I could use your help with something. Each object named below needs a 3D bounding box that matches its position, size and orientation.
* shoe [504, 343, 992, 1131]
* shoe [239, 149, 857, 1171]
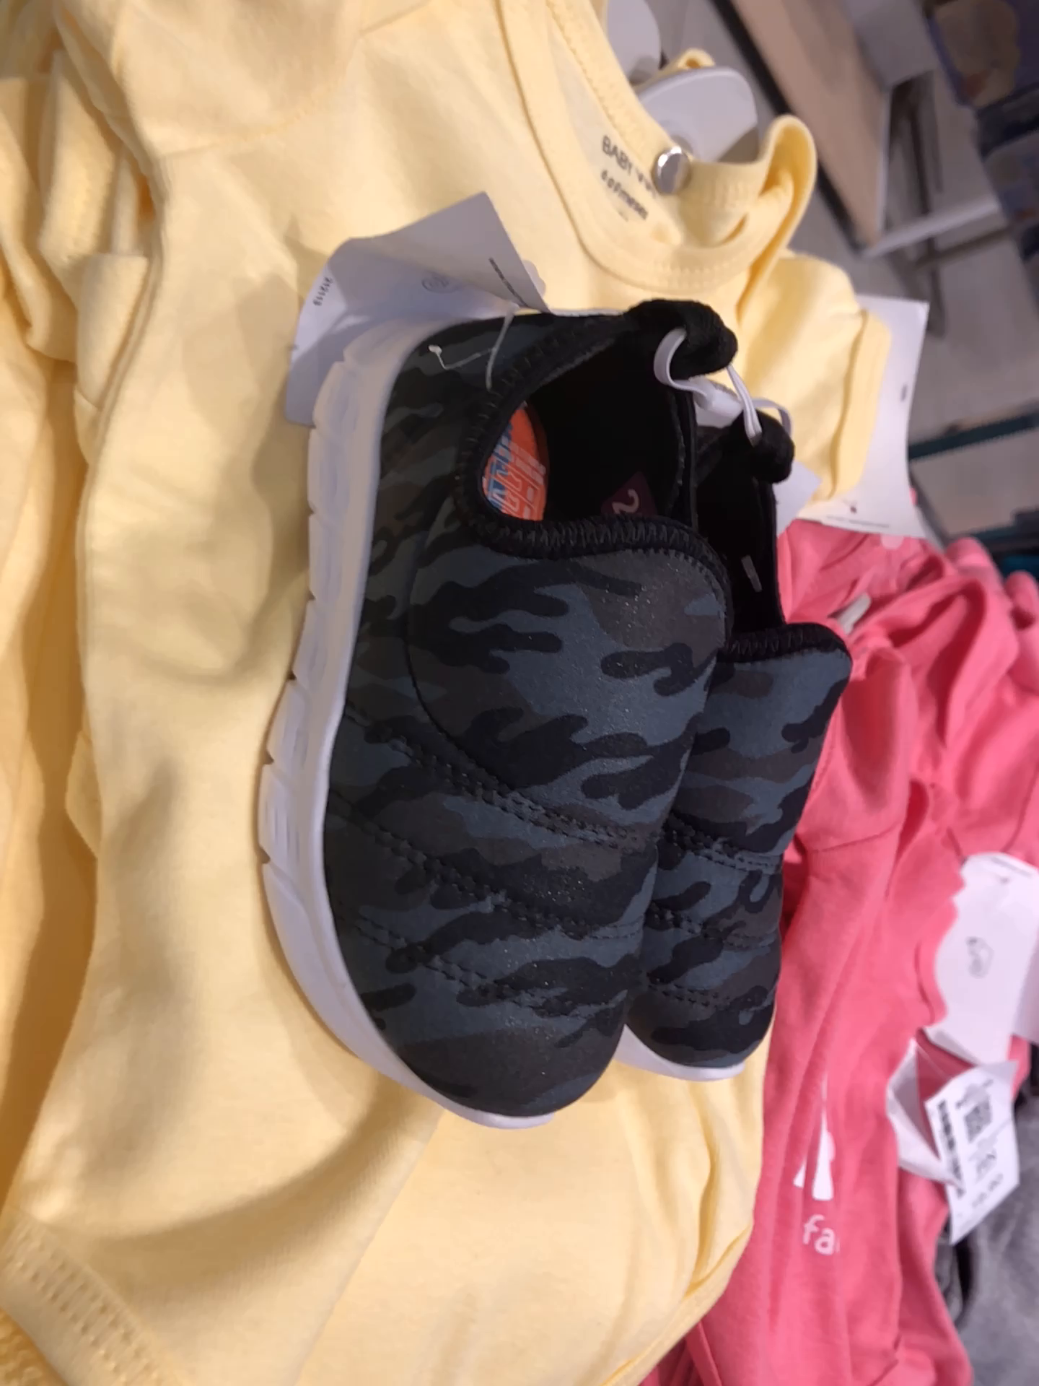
[{"bbox_3d":[0.052,0.012,0.268,0.070,0.069,0.150,5,77,-54],"label":"shoe"},{"bbox_3d":[0.004,0.000,0.216,0.070,0.079,0.150,15,69,-52],"label":"shoe"}]
